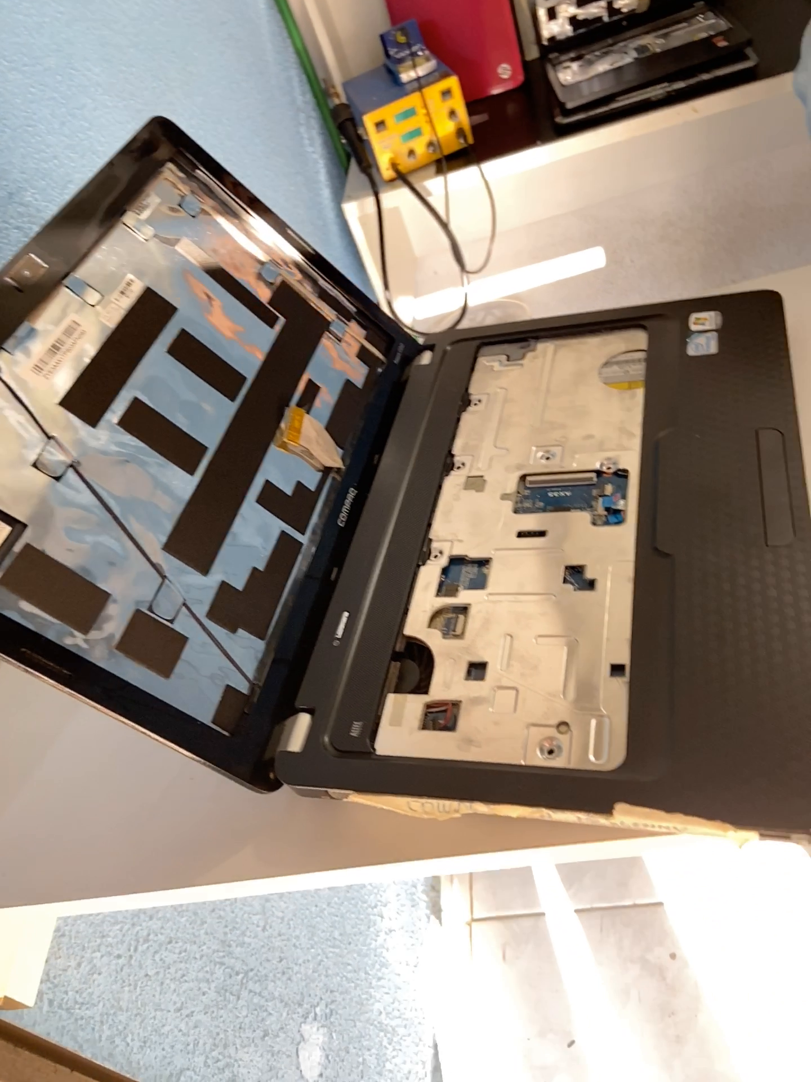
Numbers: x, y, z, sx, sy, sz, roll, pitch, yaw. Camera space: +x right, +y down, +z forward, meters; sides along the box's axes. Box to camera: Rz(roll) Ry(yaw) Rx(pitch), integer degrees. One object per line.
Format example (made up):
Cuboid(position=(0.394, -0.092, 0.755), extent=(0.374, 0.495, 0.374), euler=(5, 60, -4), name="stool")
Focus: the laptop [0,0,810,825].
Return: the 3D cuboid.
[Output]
Cuboid(position=(0.003, -0.080, 0.402), extent=(0.336, 0.182, 0.333), euler=(-3, 47, 22), name="laptop")
